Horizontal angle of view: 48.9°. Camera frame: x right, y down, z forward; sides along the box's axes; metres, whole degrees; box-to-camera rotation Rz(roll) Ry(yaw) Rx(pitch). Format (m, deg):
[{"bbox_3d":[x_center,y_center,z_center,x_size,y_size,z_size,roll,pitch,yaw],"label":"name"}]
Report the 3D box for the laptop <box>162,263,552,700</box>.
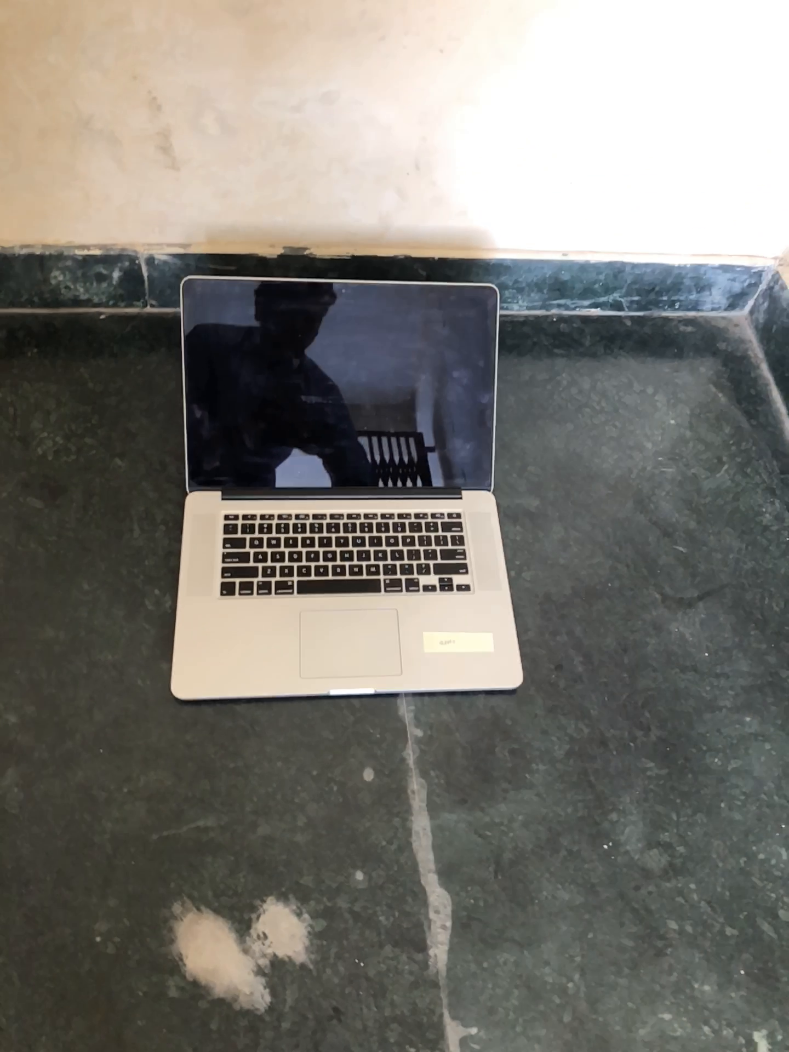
[{"bbox_3d":[-0.047,-0.063,0.914,0.342,0.130,0.434,-1,61,-8],"label":"laptop"}]
